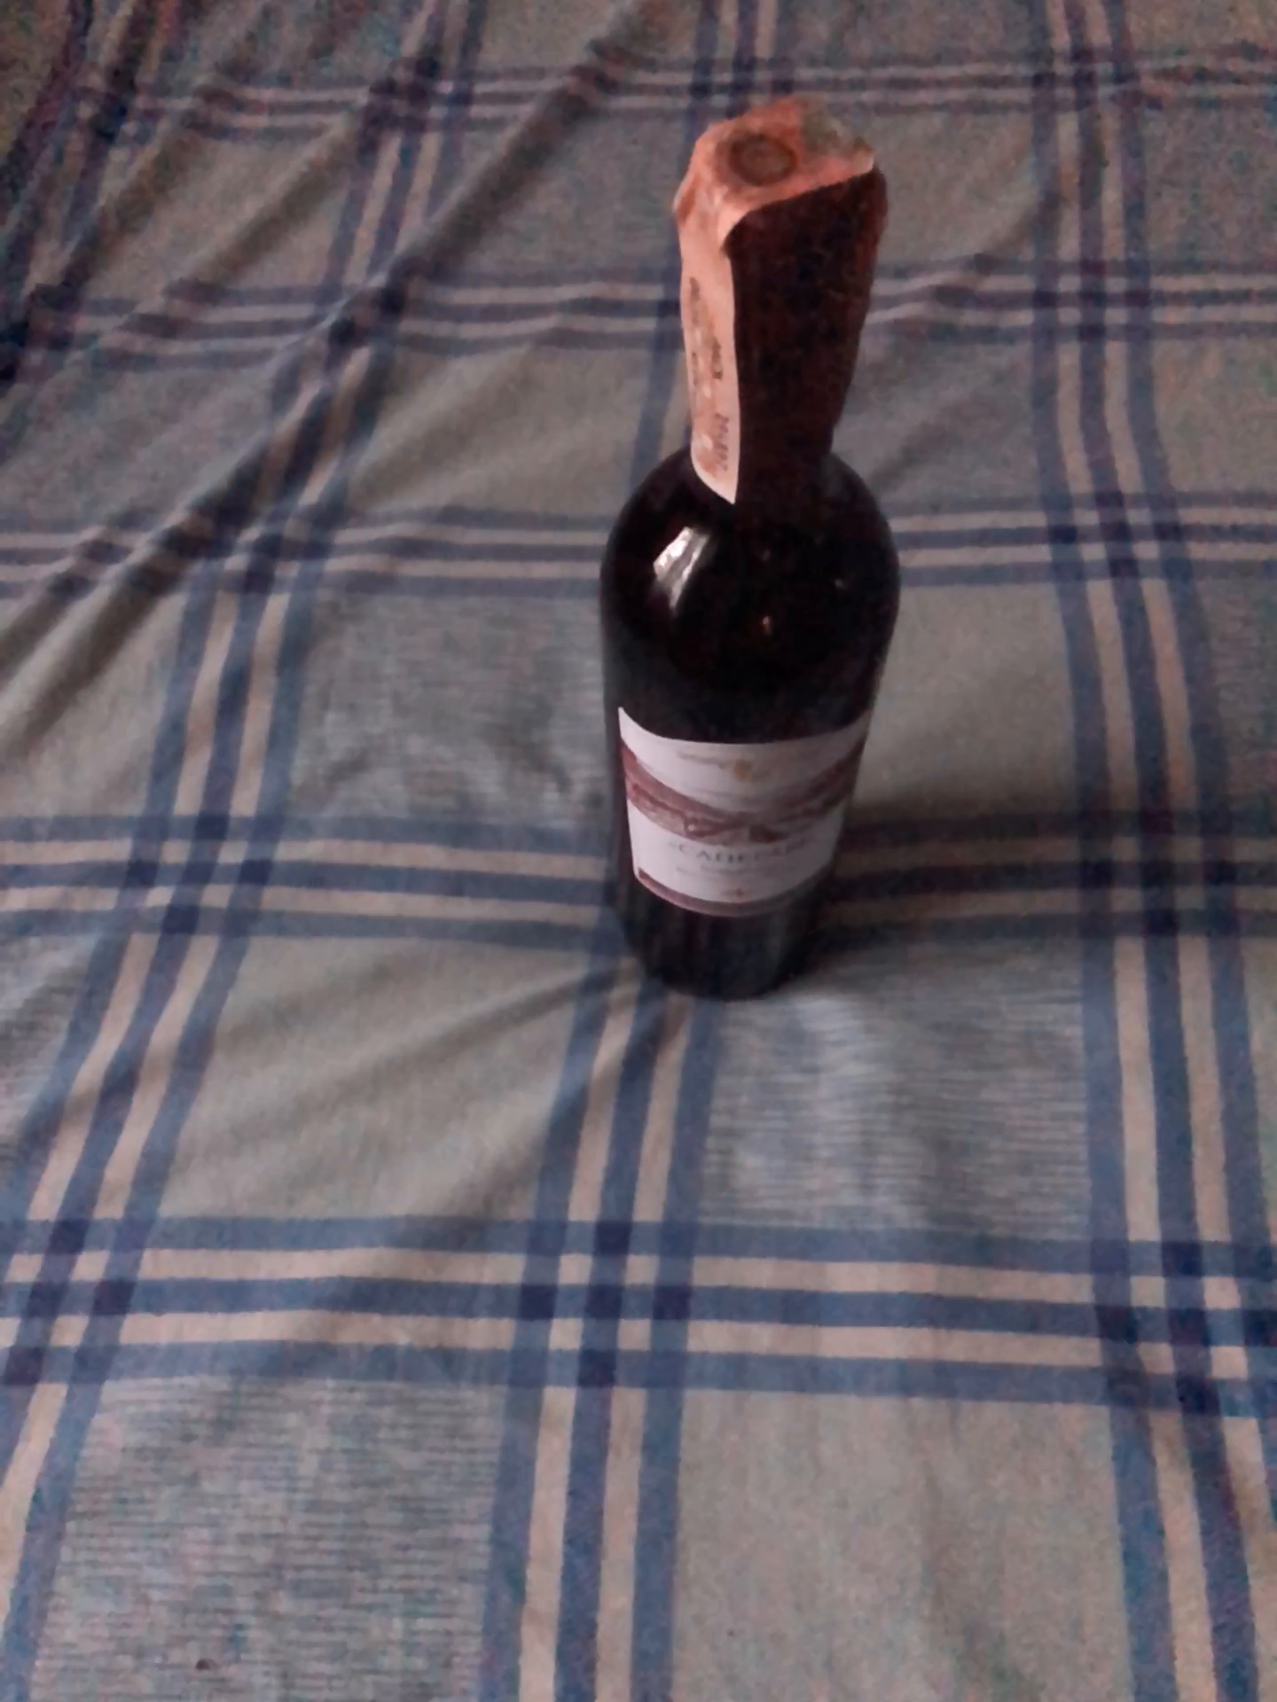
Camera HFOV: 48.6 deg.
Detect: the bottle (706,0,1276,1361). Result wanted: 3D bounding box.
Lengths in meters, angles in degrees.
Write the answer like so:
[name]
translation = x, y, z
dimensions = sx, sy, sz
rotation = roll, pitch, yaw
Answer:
[bottle]
translation = 0.067, 0.006, 0.245
dimensions = 0.081, 0.305, 0.071
rotation = 24, 64, 17
